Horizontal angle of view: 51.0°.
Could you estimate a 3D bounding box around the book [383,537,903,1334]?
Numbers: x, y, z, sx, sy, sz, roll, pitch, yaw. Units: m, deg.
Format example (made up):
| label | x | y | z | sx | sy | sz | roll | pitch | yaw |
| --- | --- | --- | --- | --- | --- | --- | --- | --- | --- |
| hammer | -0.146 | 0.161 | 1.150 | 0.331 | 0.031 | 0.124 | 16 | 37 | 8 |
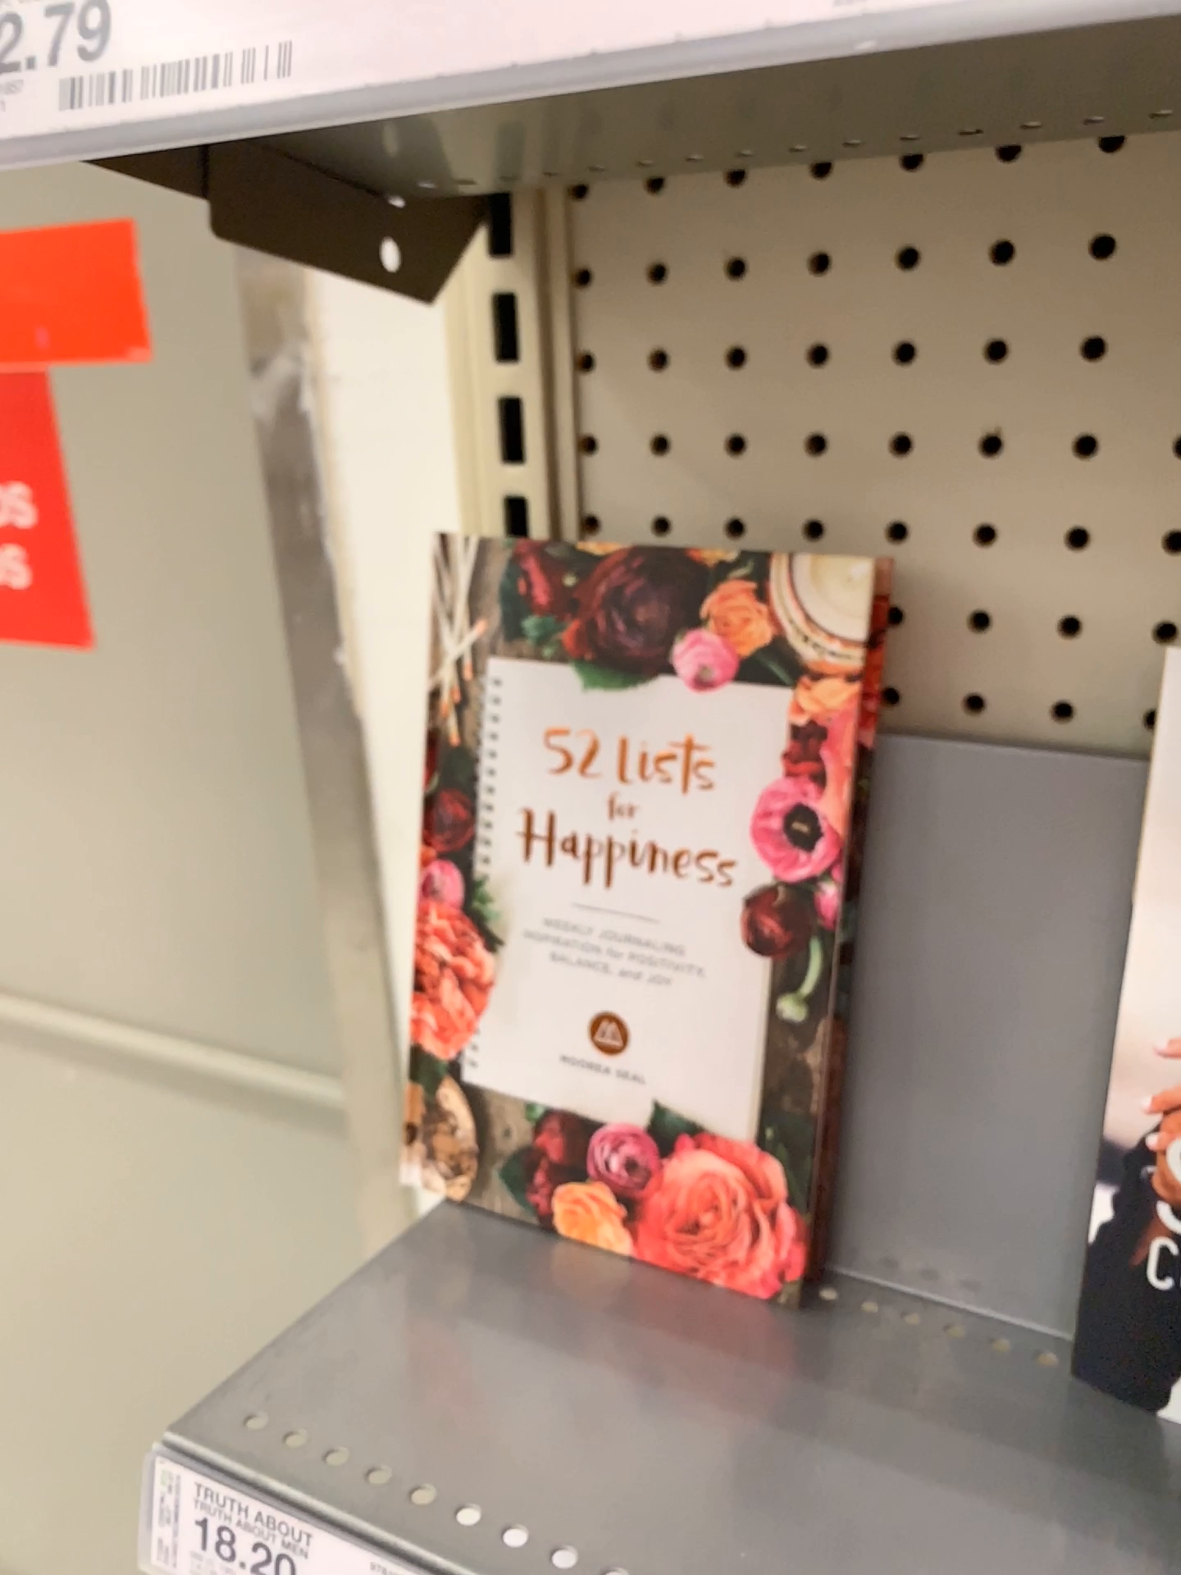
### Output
| label | x | y | z | sx | sy | sz | roll | pitch | yaw |
| --- | --- | --- | --- | --- | --- | --- | --- | --- | --- |
| book | 0.007 | 0.037 | 0.376 | 0.150 | 0.216 | 0.020 | 8 | 9 | 27 |
